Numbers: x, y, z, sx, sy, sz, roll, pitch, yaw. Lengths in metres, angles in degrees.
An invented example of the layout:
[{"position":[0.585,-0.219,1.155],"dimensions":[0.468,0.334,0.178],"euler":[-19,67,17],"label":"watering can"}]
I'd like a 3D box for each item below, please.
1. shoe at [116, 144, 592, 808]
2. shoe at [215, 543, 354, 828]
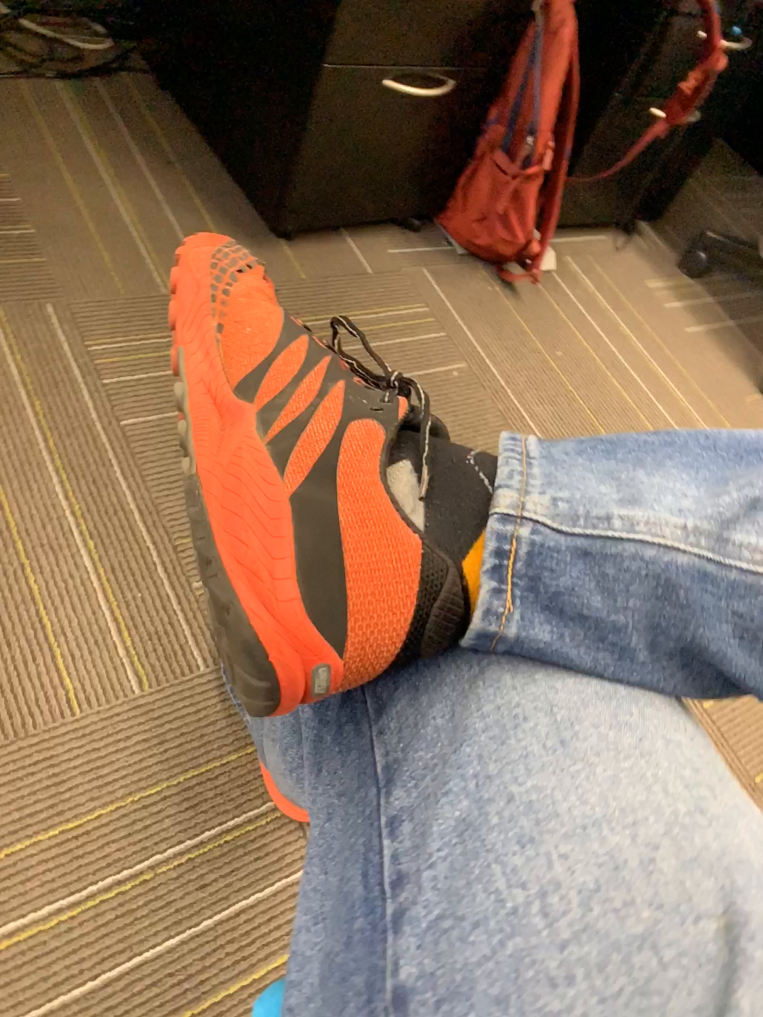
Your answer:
[{"position":[-0.043,-0.041,0.401],"dimensions":[0.146,0.110,0.322],"euler":[-6,56,-19],"label":"shoe"},{"position":[-0.122,0.197,0.925],"dimensions":[0.117,0.067,0.319],"euler":[6,53,-24],"label":"shoe"}]
